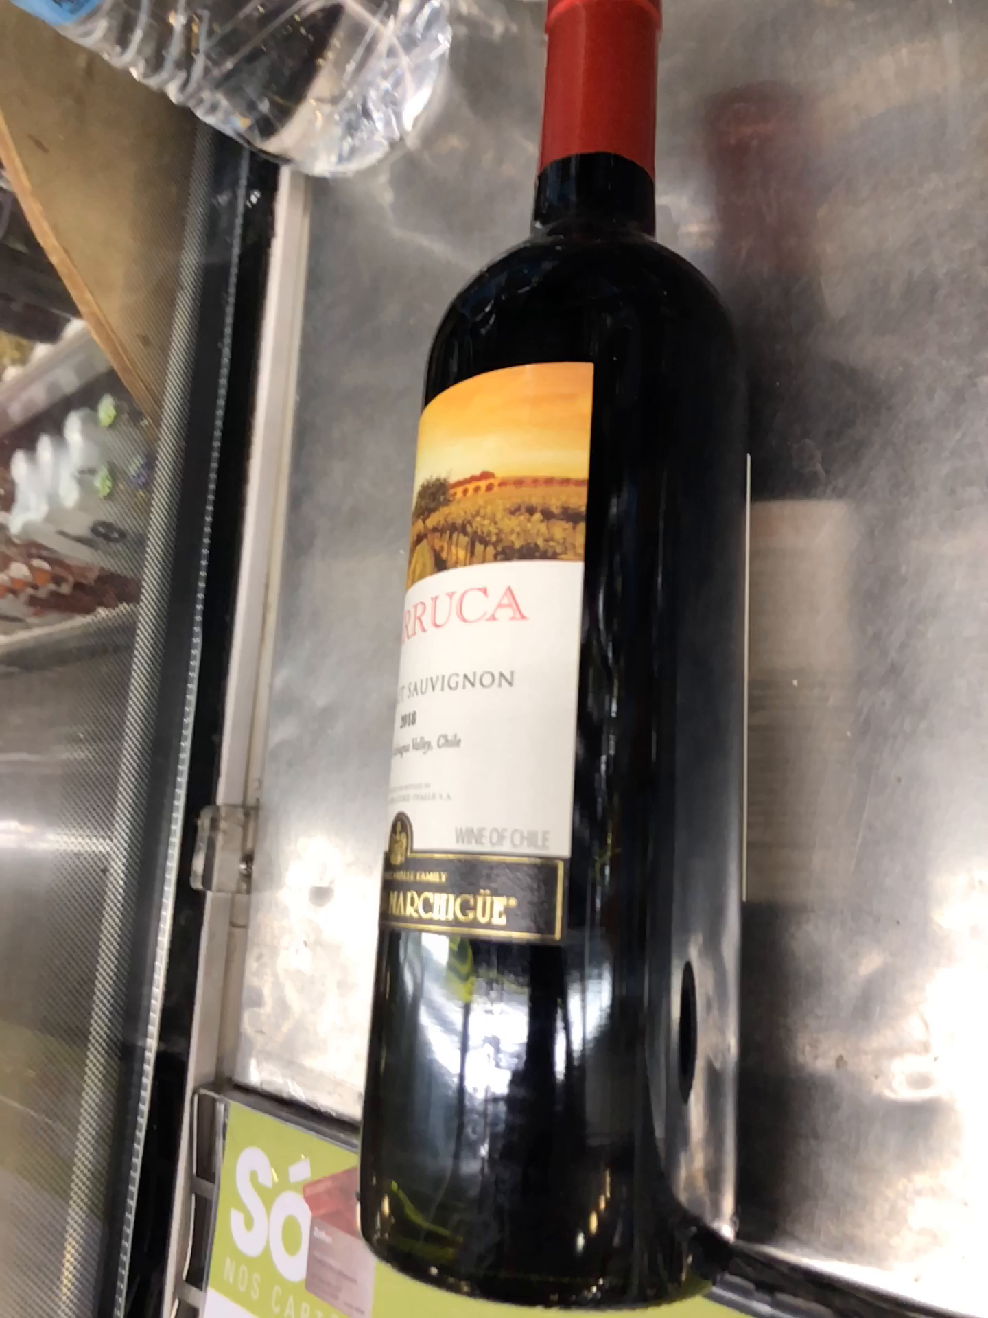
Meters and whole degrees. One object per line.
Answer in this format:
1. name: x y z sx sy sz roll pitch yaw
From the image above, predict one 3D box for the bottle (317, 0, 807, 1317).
1. bottle: 0.017 -0.037 0.238 0.080 0.050 0.310 -9 74 45
